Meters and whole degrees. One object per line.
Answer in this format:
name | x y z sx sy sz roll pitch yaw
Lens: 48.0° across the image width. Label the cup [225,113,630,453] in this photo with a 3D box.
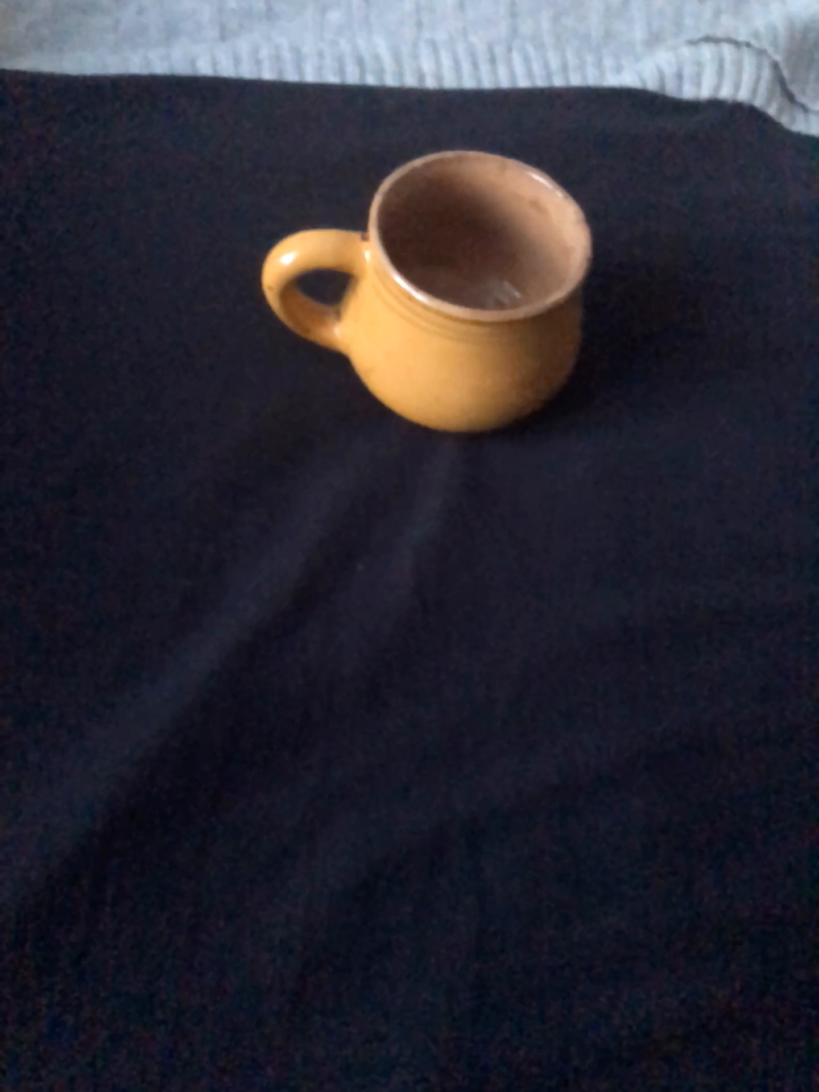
cup | 0.004 -0.088 0.313 0.119 0.058 0.082 5 61 -5
